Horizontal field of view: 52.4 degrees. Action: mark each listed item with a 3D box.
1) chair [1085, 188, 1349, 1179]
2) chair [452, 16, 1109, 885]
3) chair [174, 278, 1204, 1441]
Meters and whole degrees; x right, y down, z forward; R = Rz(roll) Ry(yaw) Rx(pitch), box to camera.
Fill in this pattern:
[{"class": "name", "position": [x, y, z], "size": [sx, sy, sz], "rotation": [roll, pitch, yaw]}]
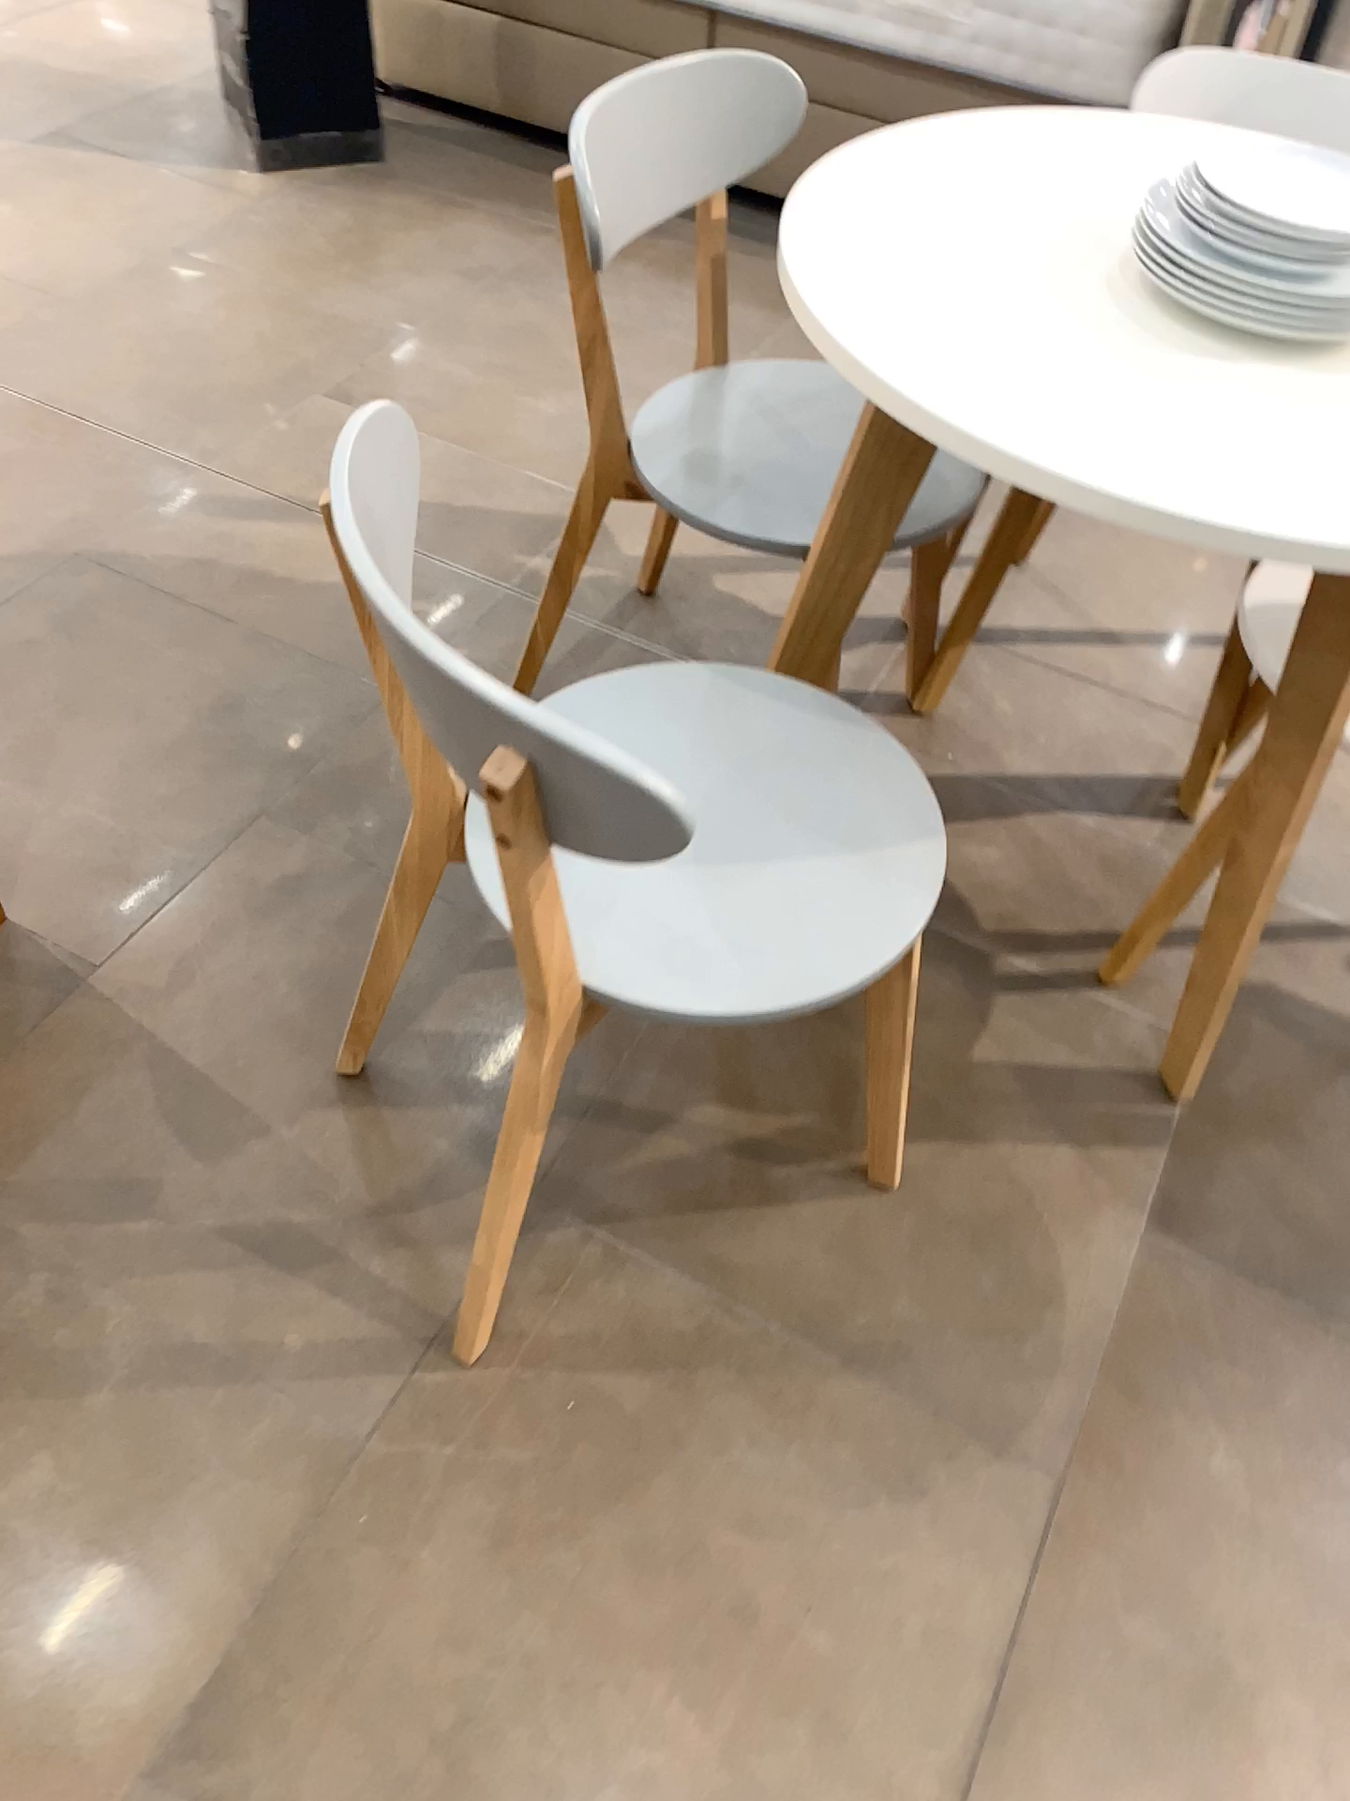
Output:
[{"class": "chair", "position": [0.915, -0.219, 1.526], "size": [0.541, 0.799, 0.523], "rotation": [26, 50, 16]}, {"class": "chair", "position": [0.101, -0.561, 1.770], "size": [0.541, 0.799, 0.523], "rotation": [25, 50, 15]}, {"class": "chair", "position": [-0.042, -0.016, 1.244], "size": [0.531, 0.799, 0.522], "rotation": [-19, 53, -22]}]
